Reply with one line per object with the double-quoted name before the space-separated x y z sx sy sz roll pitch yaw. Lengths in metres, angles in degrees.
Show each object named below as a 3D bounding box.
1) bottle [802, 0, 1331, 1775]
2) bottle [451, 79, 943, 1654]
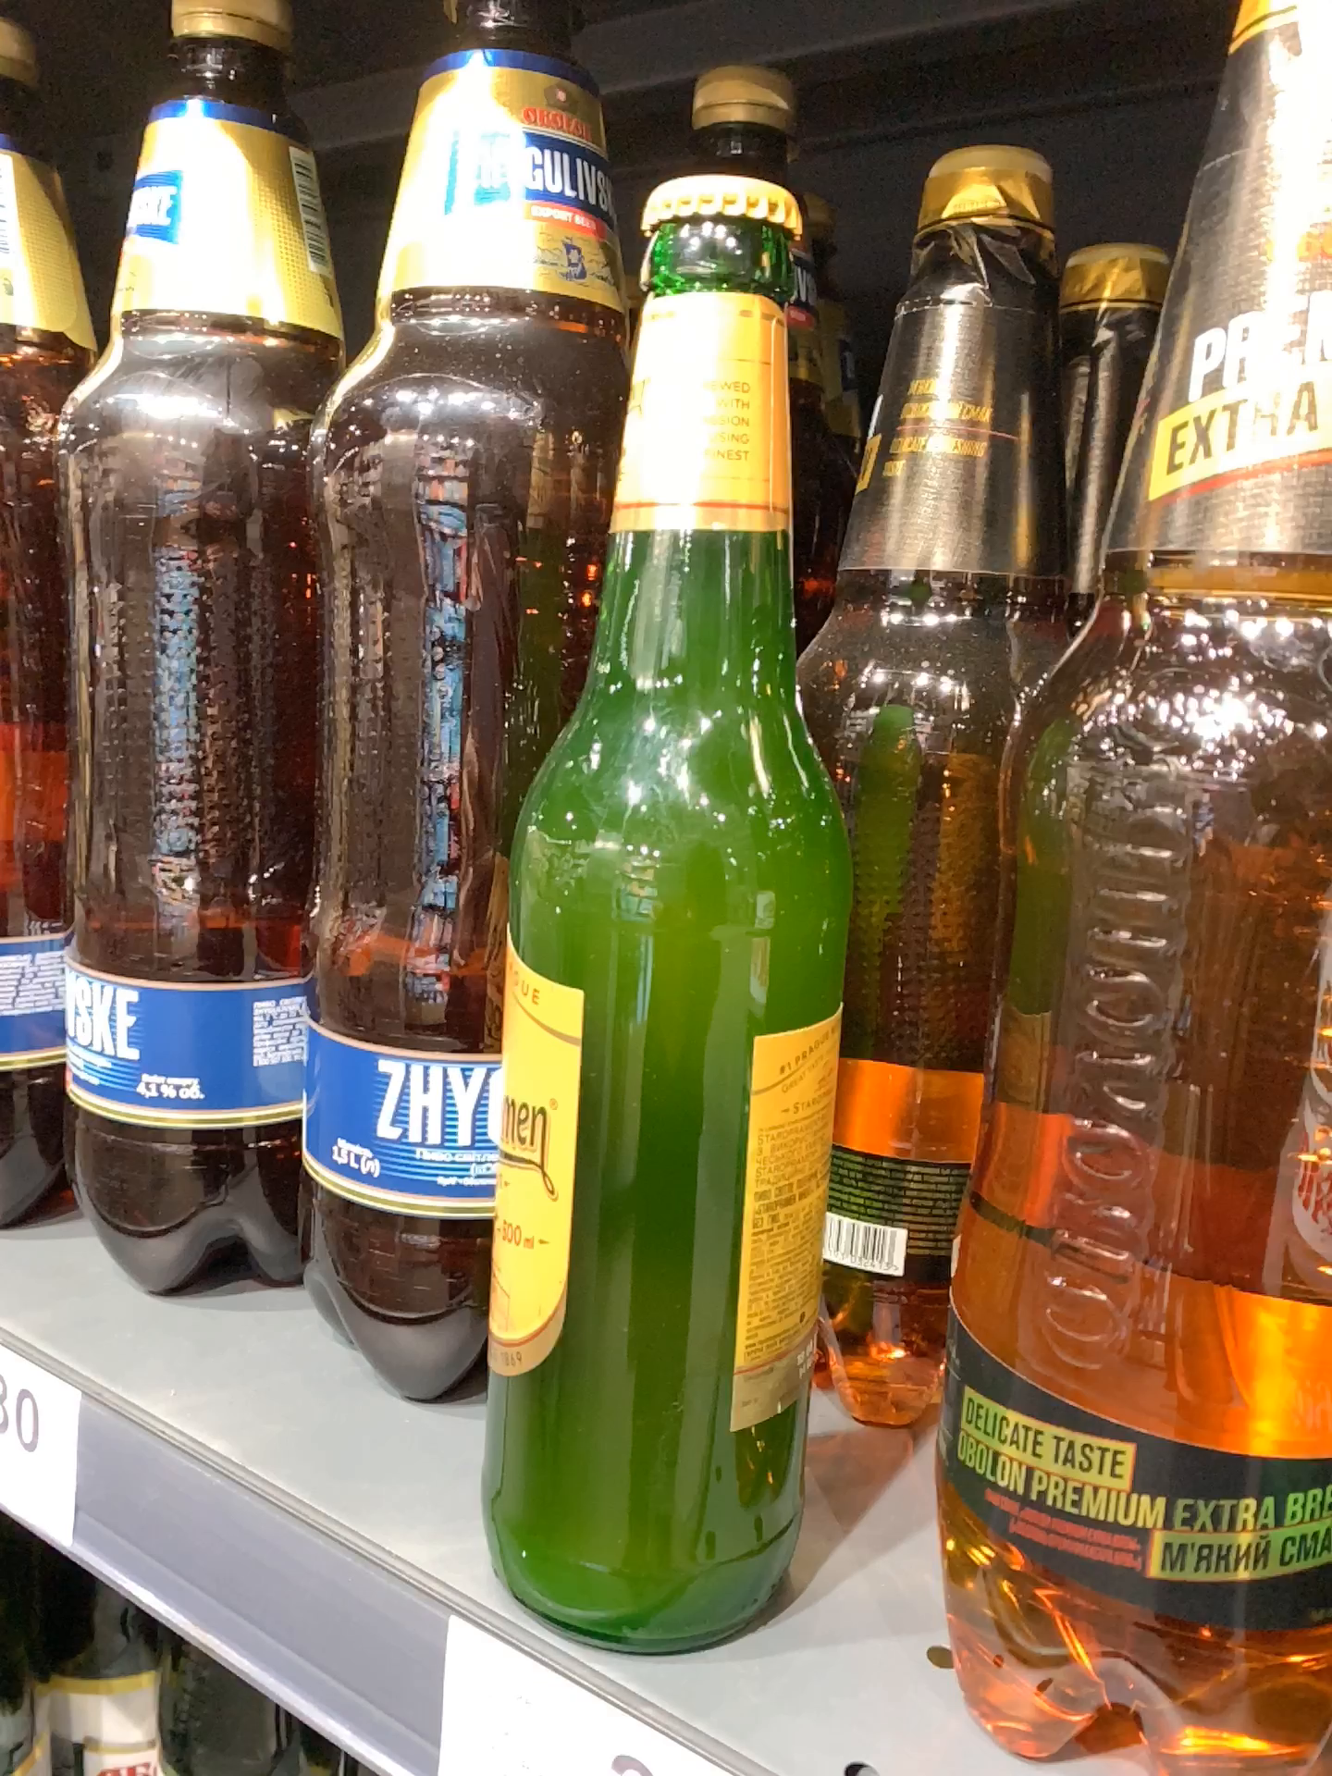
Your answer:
"bottle" 0.075 -0.003 0.214 0.075 0.270 0.066 7 11 21
"bottle" -0.001 0.004 0.253 0.067 0.255 0.062 3 10 0
